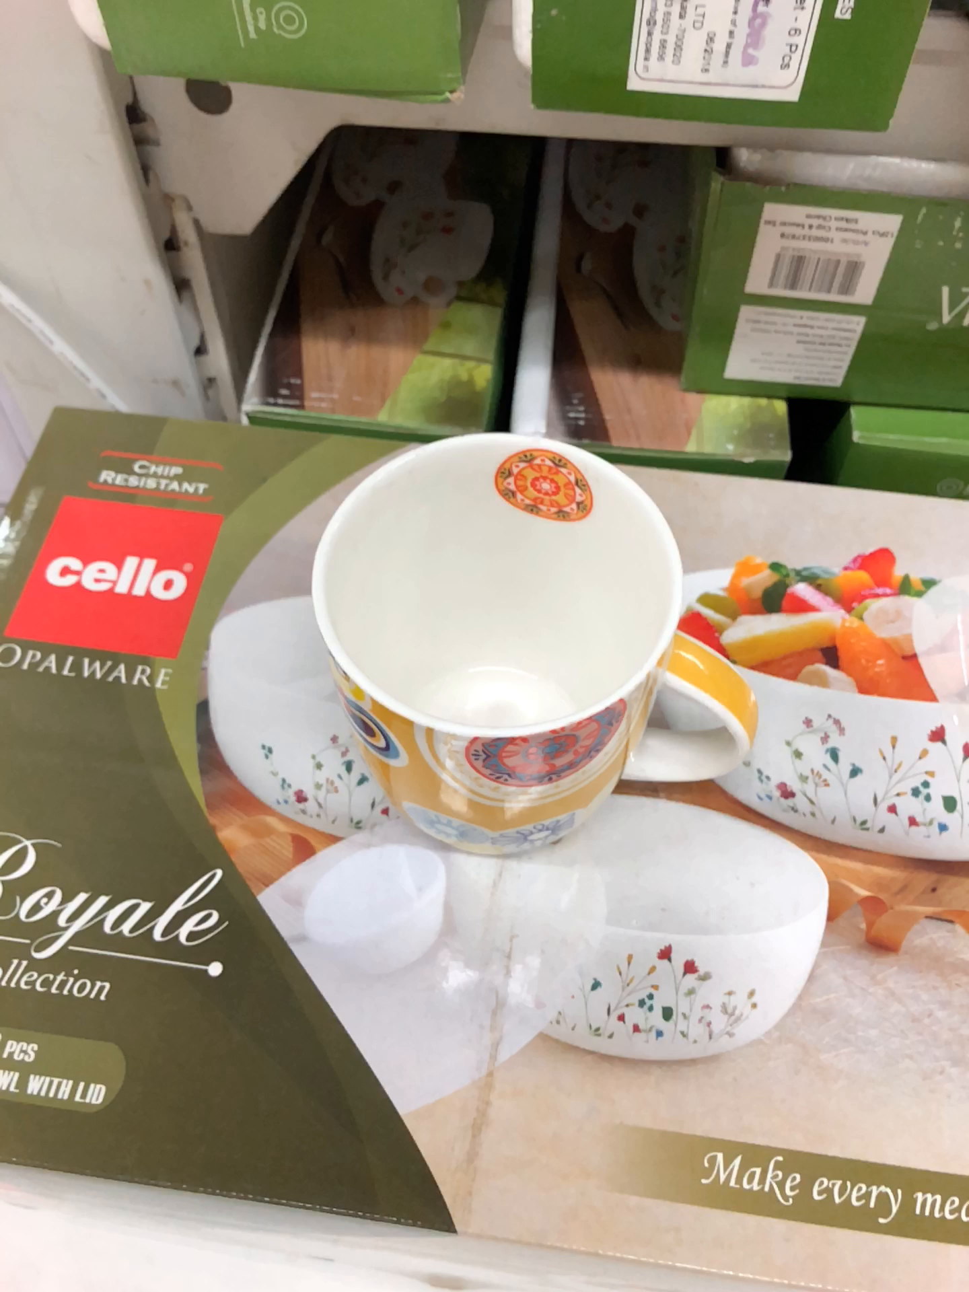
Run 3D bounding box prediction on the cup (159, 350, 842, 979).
[{"bbox_3d":[0.008,0.006,0.261,0.120,0.090,0.090,15,58,9],"label":"cup"}]
